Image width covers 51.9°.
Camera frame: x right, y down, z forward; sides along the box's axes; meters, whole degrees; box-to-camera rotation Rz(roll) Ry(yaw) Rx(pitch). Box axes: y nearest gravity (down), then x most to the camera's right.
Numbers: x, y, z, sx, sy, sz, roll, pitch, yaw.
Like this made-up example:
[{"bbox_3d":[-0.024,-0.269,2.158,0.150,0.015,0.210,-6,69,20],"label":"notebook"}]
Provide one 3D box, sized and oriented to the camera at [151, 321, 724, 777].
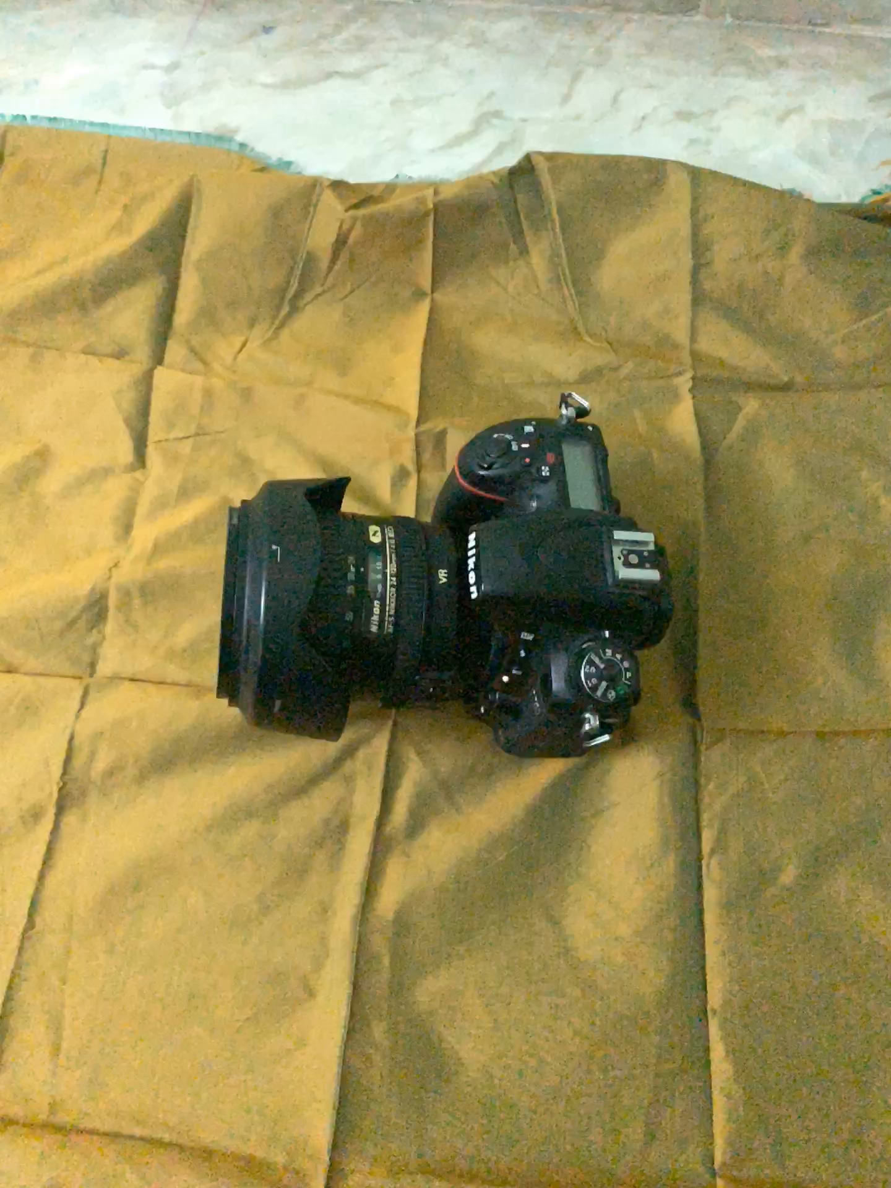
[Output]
[{"bbox_3d":[-0.007,-0.010,0.375,0.192,0.100,0.140,5,66,-10],"label":"camera"}]
